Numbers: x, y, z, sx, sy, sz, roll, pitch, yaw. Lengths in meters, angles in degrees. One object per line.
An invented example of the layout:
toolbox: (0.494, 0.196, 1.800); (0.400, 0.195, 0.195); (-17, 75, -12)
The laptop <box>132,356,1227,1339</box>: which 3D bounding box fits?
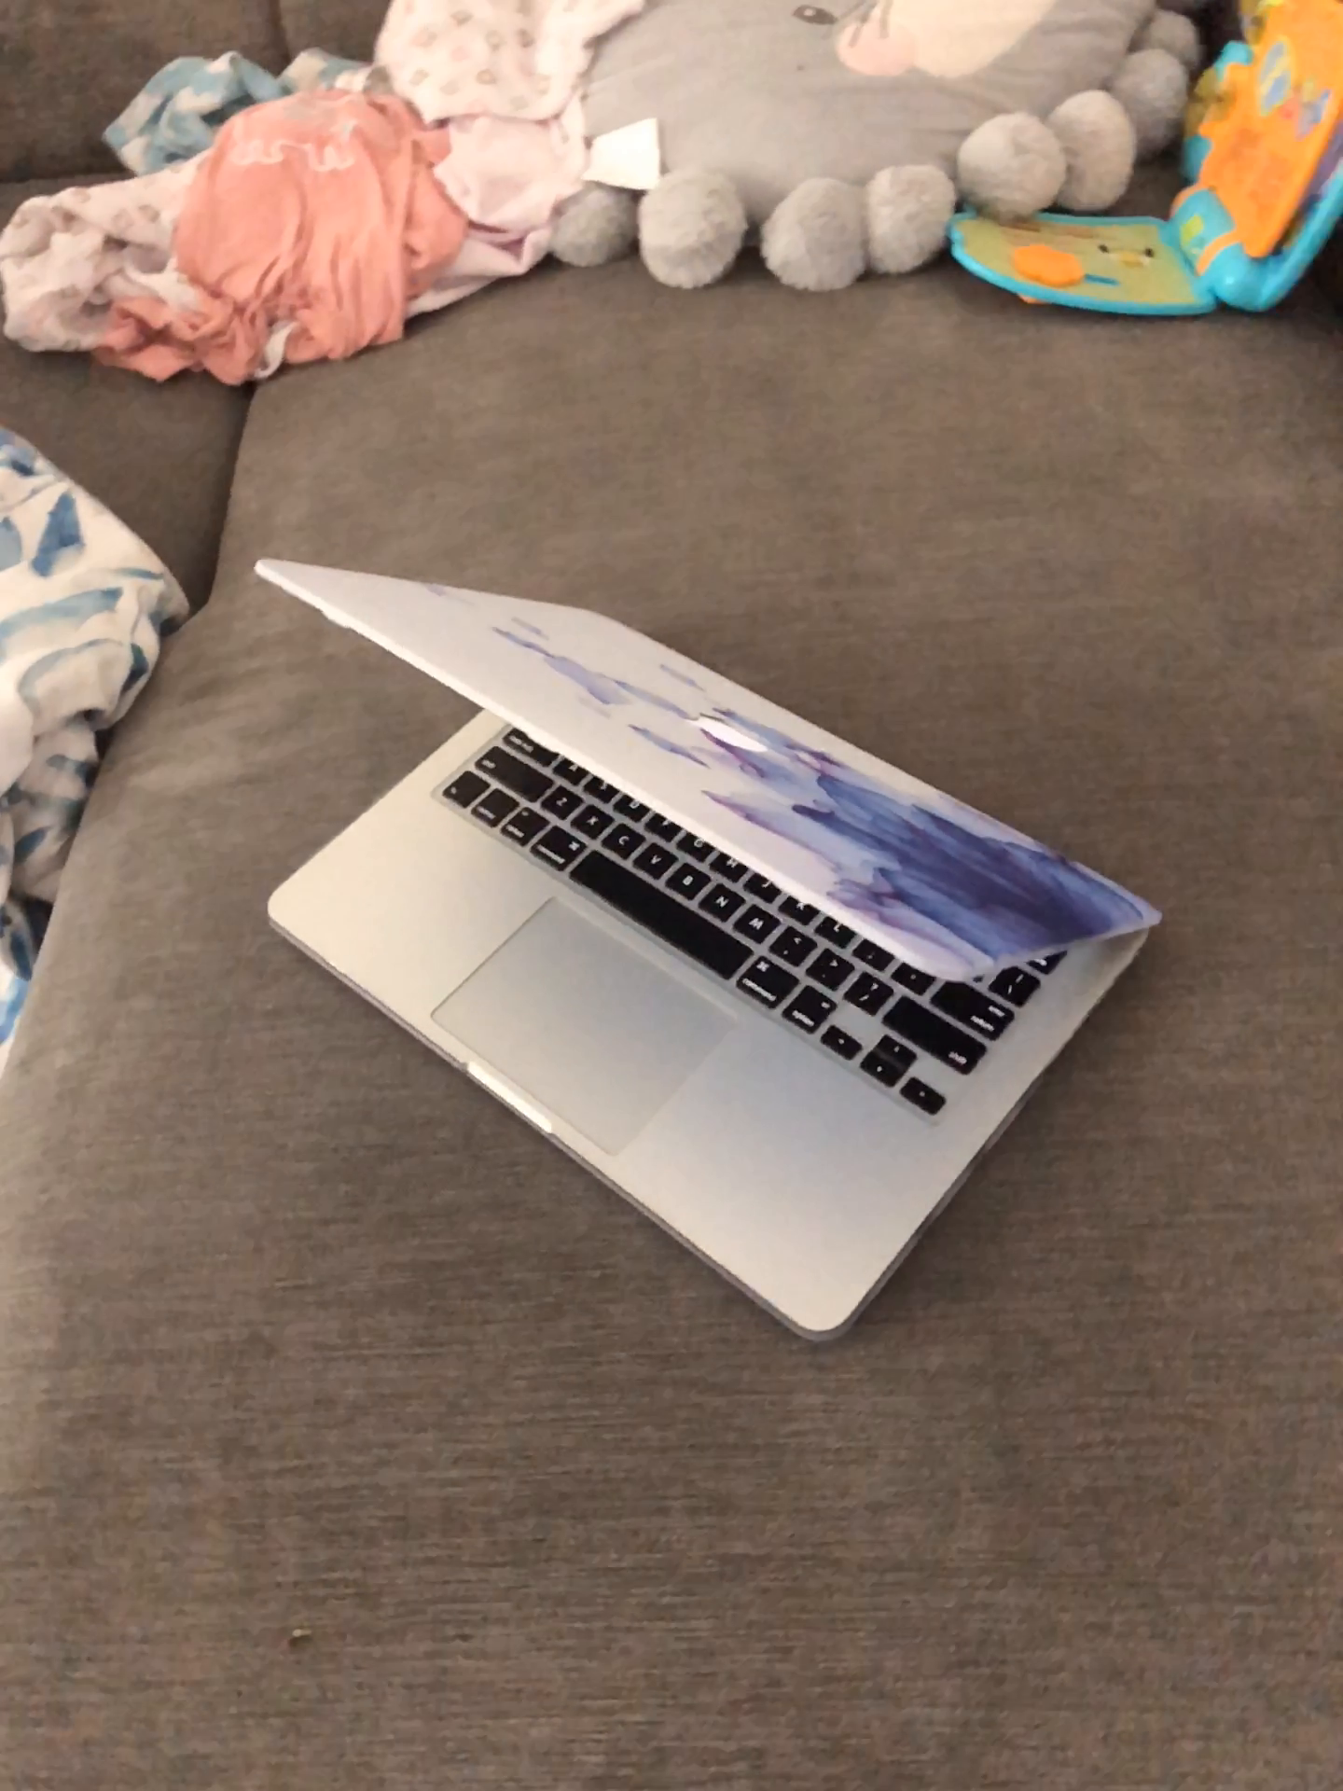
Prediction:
laptop: (-0.001, -0.037, 0.561); (0.309, 0.137, 0.217); (32, 64, 27)
